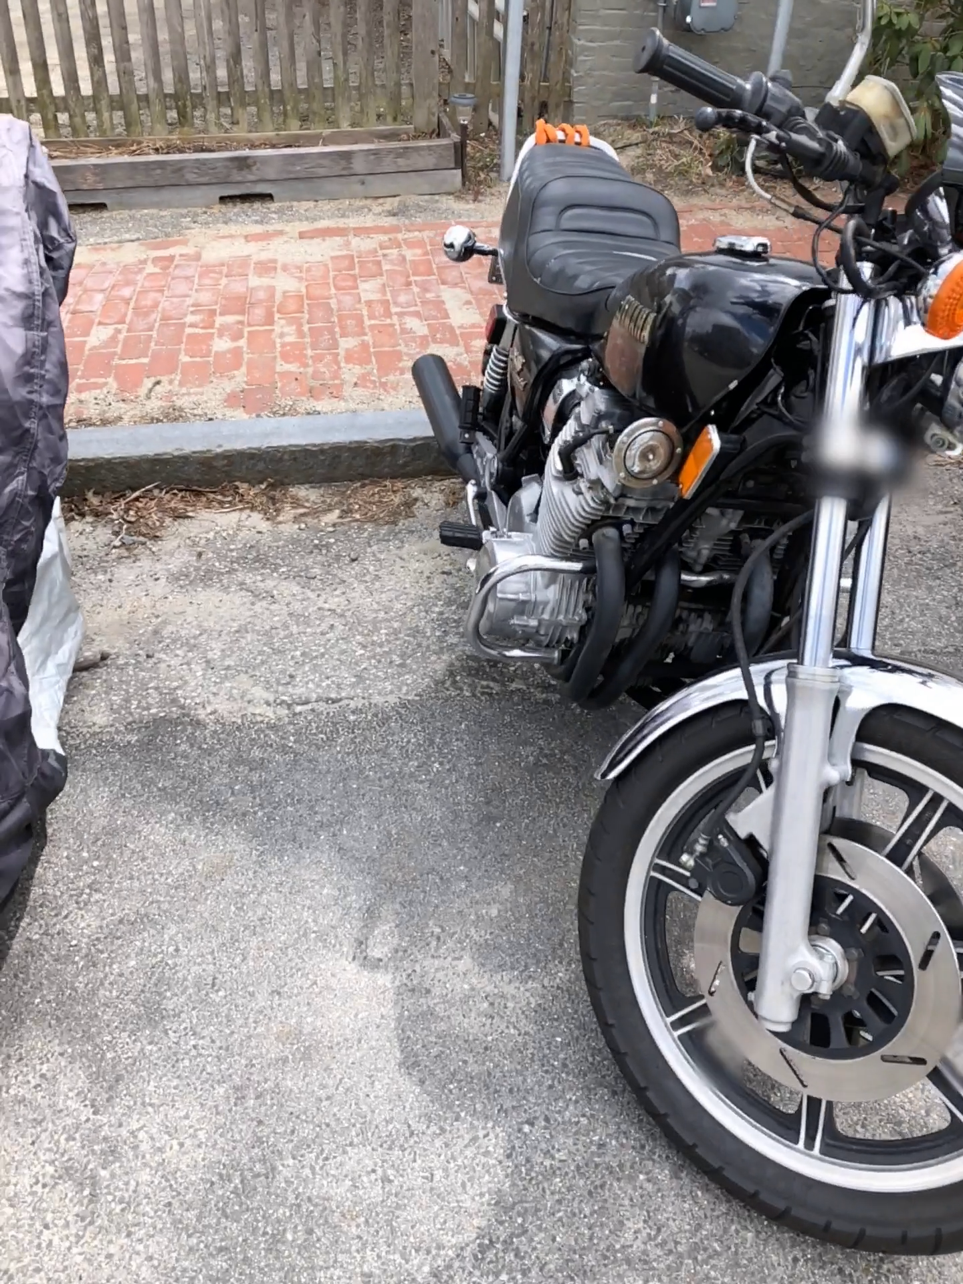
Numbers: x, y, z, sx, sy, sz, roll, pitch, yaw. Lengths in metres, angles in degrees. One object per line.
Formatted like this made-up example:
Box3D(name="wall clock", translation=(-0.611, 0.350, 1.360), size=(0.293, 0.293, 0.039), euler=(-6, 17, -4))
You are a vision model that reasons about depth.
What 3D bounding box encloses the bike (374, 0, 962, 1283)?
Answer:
Box3D(name="bike", translation=(0.391, -0.269, 1.639), size=(0.709, 1.157, 1.979), euler=(-7, 39, -14))
